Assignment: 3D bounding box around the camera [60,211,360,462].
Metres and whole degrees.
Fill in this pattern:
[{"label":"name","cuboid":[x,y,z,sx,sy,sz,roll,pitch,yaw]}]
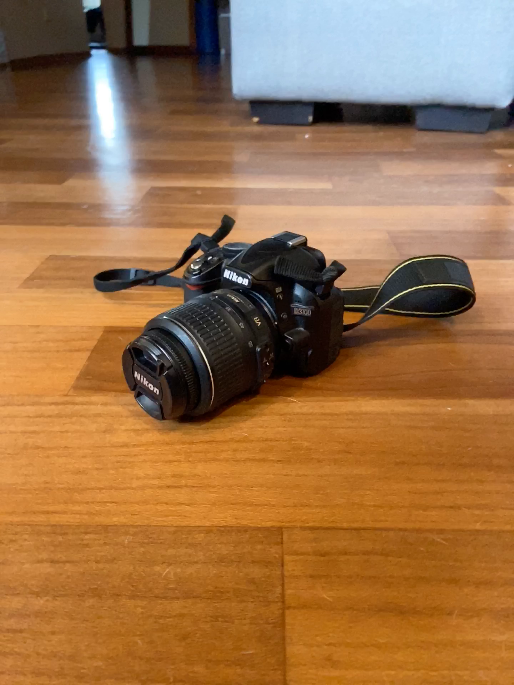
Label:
[{"label":"camera","cuboid":[-0.026,-0.020,0.376,0.121,0.090,0.162,24,38,35]}]
